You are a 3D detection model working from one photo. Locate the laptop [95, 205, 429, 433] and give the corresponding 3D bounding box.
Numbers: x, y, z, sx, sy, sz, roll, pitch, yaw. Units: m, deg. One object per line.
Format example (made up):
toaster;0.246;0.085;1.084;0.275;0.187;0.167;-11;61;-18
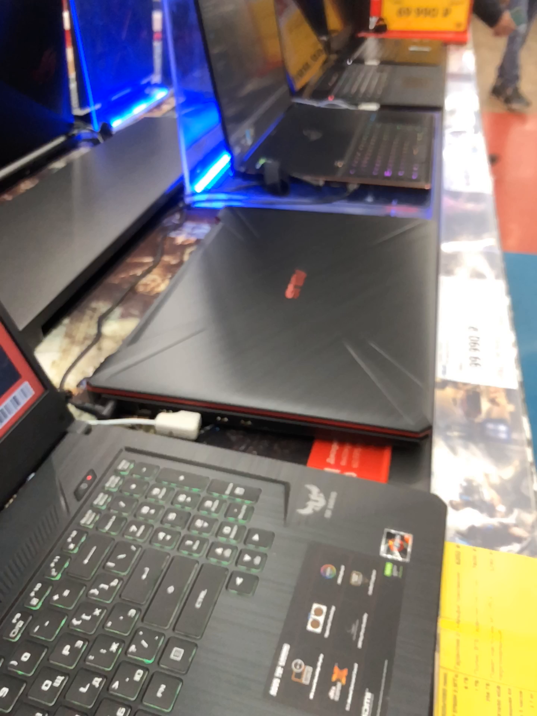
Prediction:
laptop;0.028;-0.074;0.614;0.252;0.002;0.390;7;37;12
